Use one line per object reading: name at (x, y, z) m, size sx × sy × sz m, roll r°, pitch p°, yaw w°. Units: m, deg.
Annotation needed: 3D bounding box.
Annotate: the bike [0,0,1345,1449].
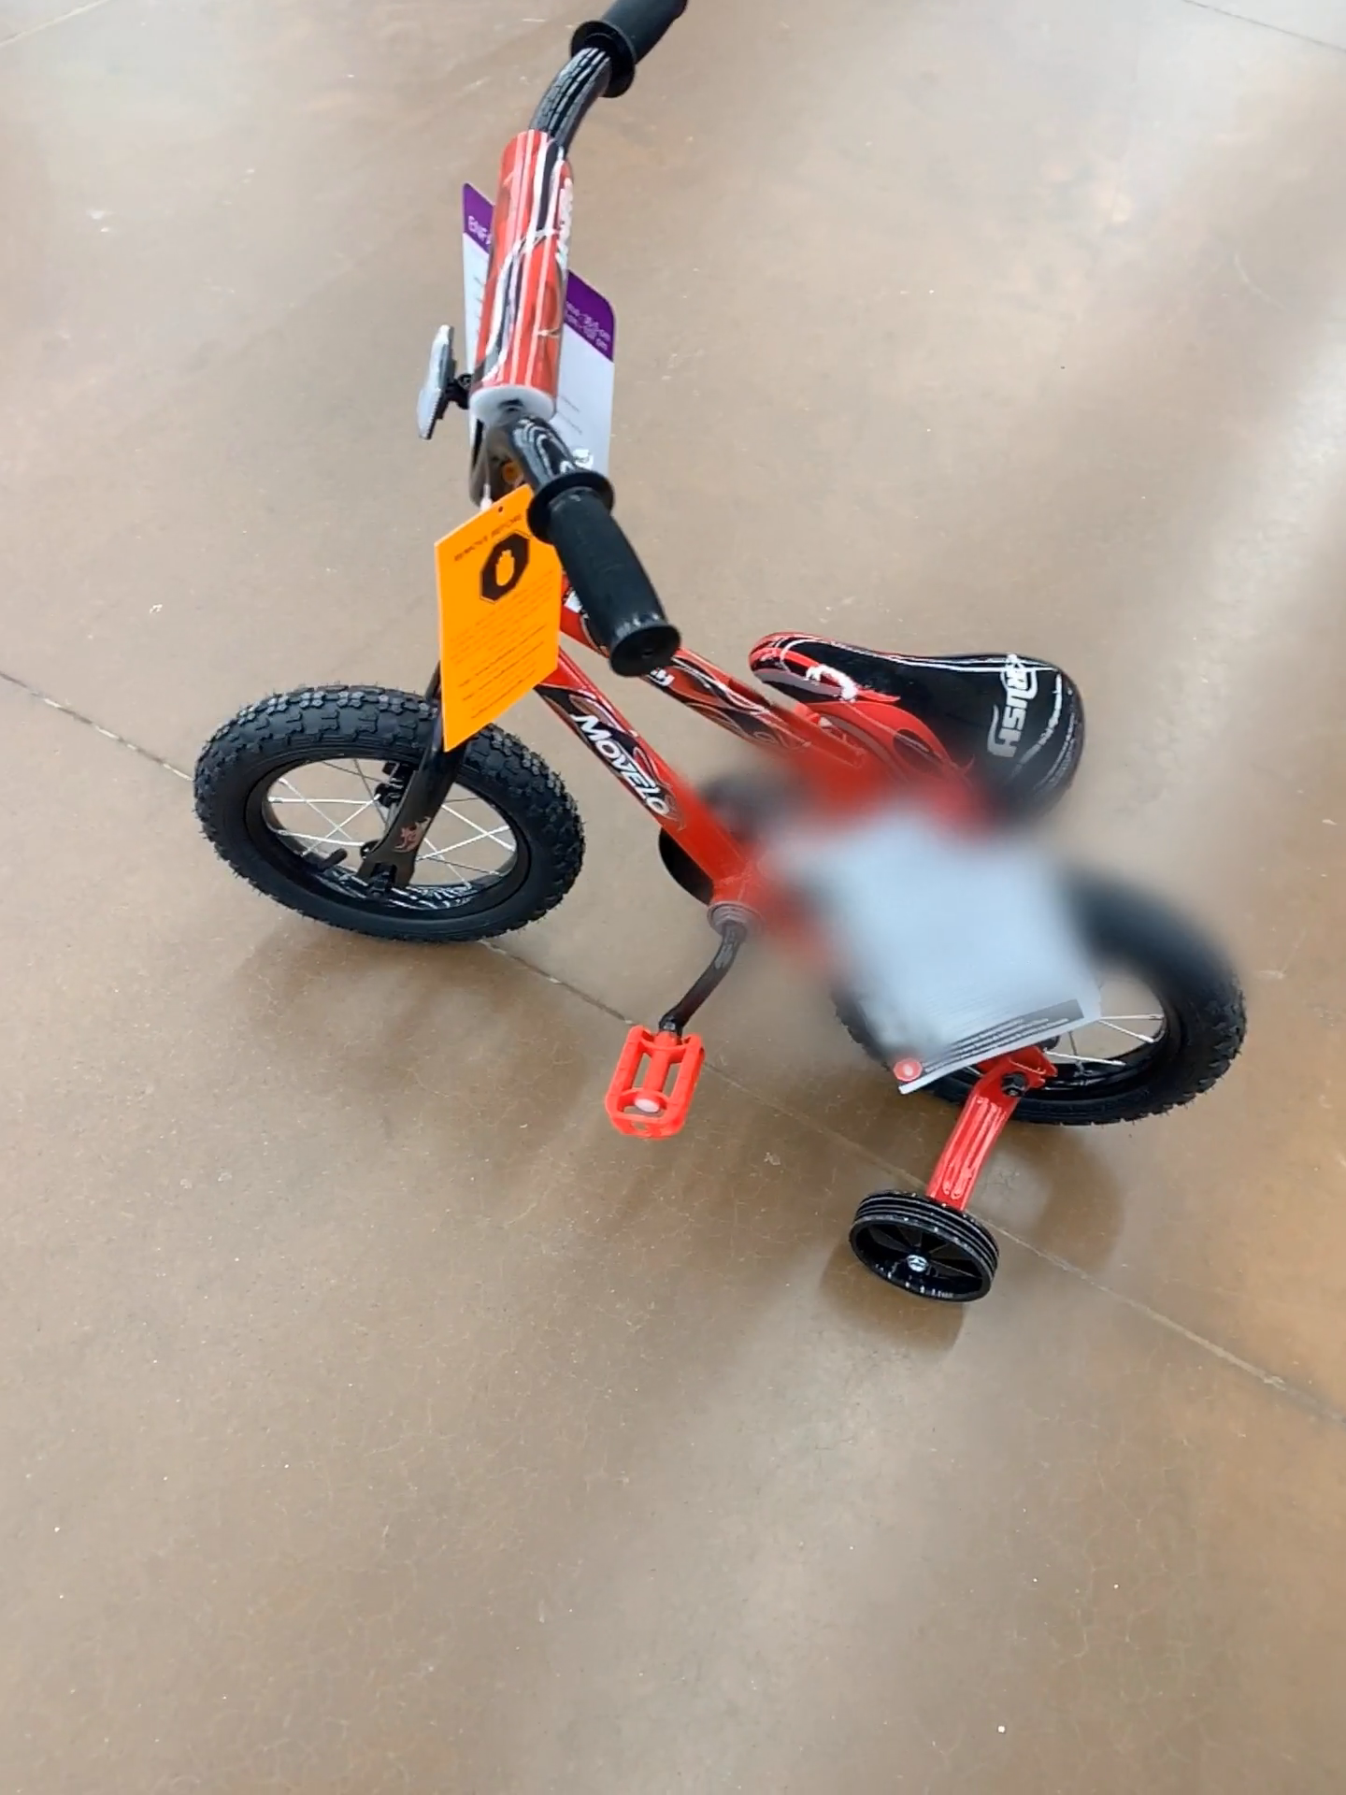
bike at (0.033, -0.107, 0.763) m, size 0.735 × 0.604 × 0.441 m, roll 16°, pitch 53°, yaw 3°
